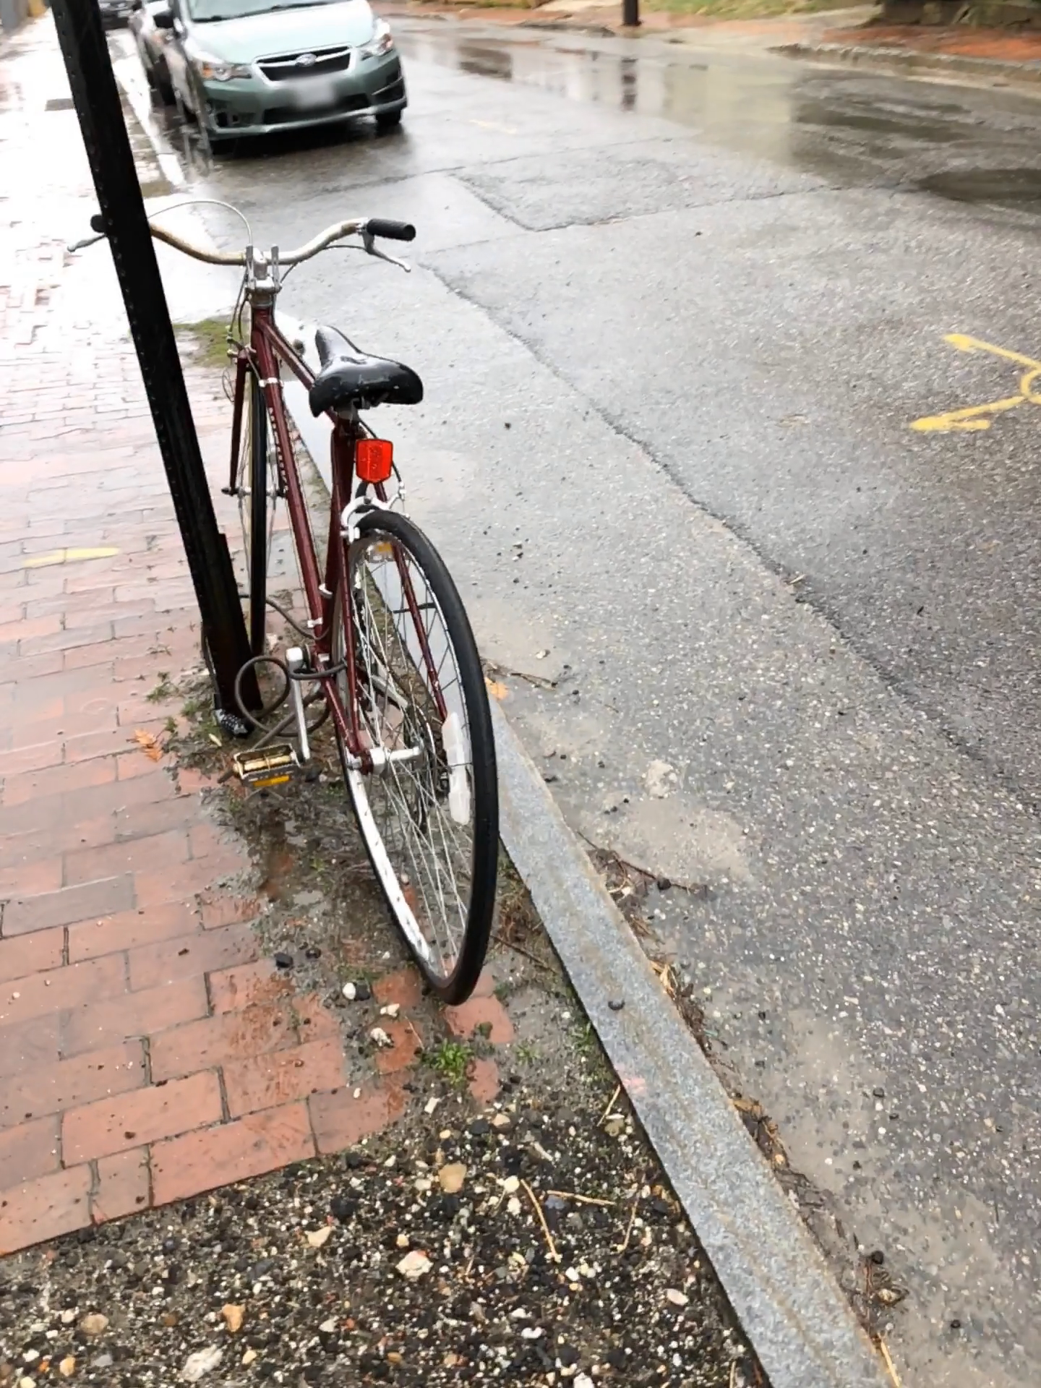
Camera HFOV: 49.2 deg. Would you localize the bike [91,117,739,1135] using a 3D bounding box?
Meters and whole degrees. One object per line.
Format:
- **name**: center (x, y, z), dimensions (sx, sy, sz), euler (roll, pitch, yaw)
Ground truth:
- **bike**: center (-0.288, -0.318, 1.880), dimensions (0.499, 0.906, 1.615), euler (-14, 36, -16)
